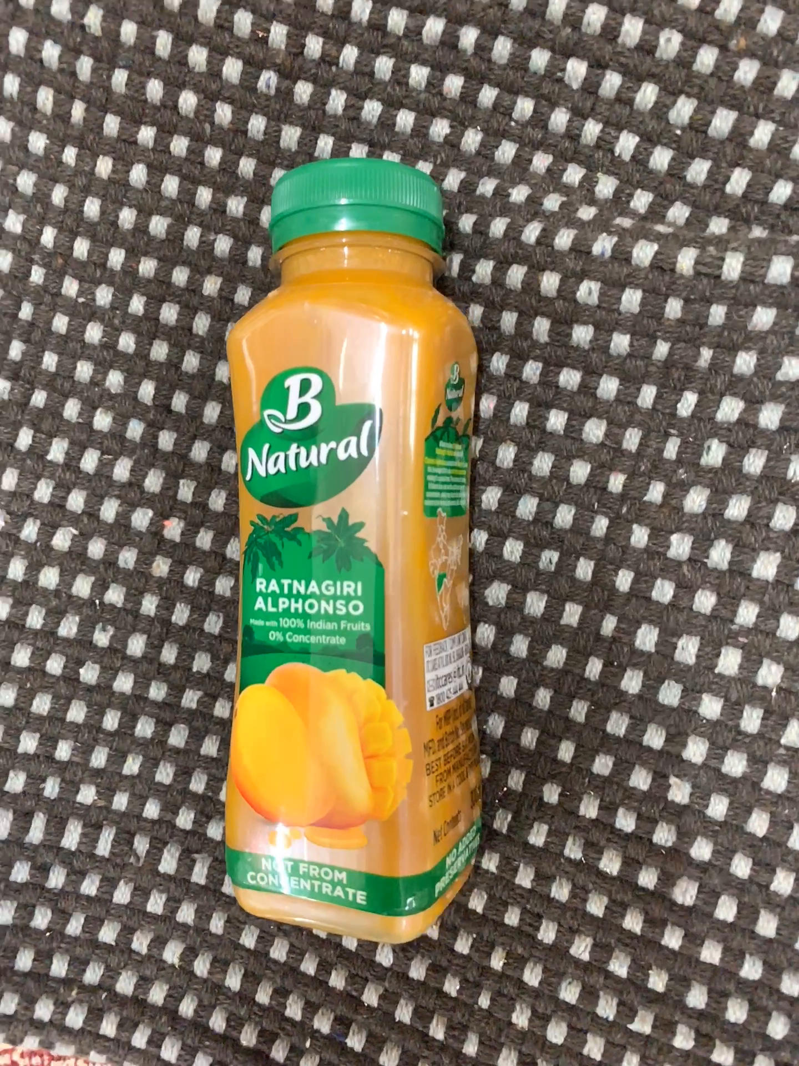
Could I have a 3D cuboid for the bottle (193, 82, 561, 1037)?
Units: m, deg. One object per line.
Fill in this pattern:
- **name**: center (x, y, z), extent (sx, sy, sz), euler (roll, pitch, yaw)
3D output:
- **bottle**: center (-0.003, 0.005, 0.172), extent (0.060, 0.050, 0.160), euler (2, 94, 19)
